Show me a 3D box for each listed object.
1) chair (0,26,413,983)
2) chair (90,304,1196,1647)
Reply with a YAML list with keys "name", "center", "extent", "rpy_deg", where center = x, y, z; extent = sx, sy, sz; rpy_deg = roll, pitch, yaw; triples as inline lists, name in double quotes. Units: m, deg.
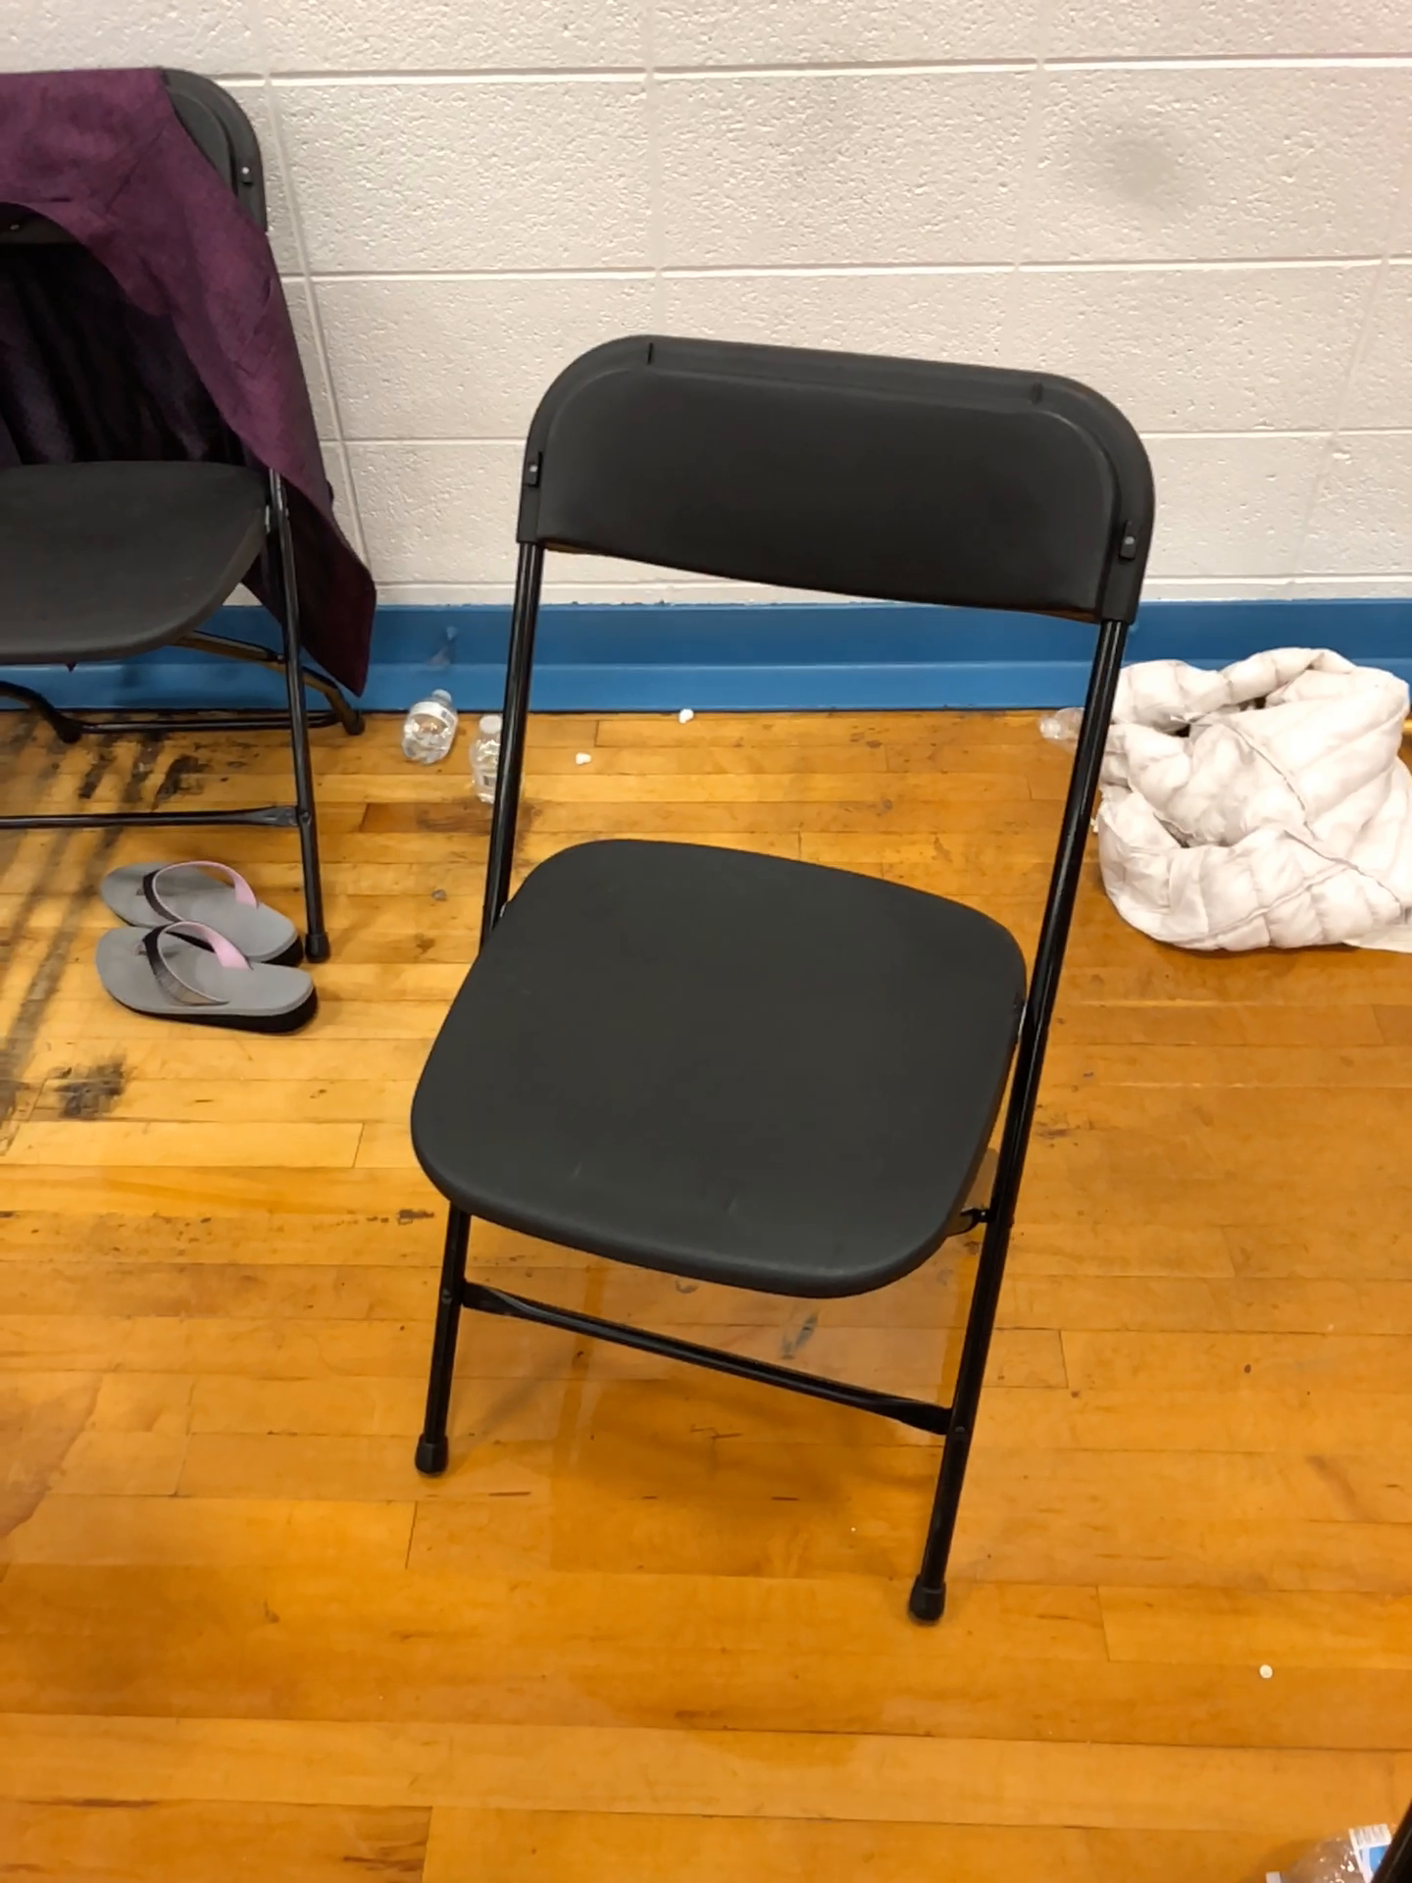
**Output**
- name: "chair"
  center: [-0.651, -0.432, 1.615]
  extent: [0.481, 0.789, 0.546]
  rpy_deg: [0, 43, 2]
- name: "chair"
  center: [0.022, 0.027, 1.102]
  extent: [0.471, 0.720, 0.526]
  rpy_deg: [10, 44, 13]
